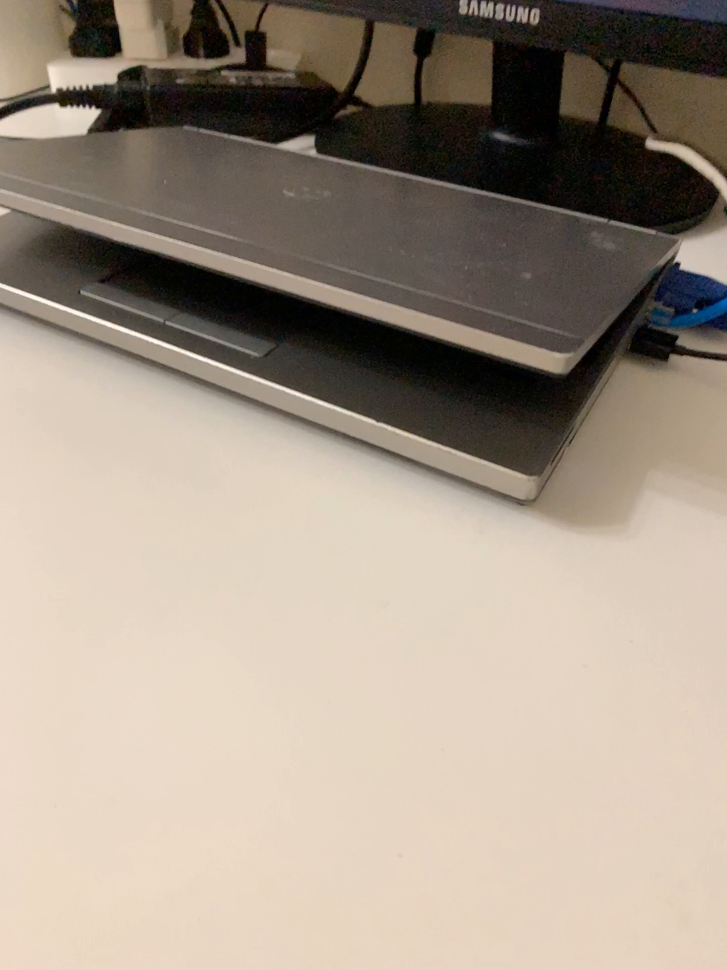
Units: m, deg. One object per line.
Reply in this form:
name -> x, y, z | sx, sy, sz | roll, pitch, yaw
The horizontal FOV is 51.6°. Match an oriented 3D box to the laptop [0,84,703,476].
laptop -> -0.024, -0.118, 0.335 | 0.293, 0.029, 0.184 | 22, 47, 22
